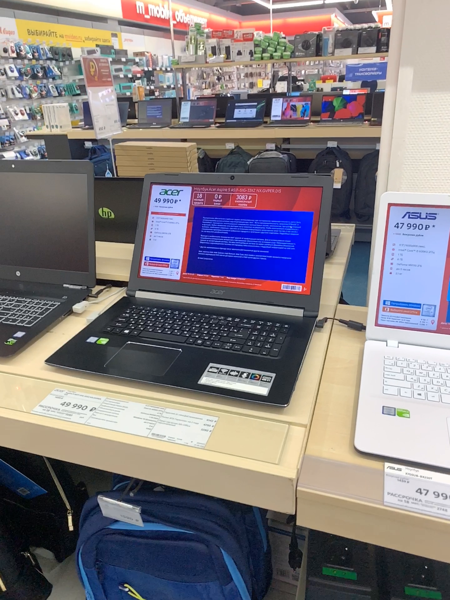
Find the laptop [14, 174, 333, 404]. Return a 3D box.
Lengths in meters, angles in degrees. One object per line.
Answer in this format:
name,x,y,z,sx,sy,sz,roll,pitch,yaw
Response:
laptop,-0.047,-0.069,0.861,0.420,0.235,0.422,6,27,18
